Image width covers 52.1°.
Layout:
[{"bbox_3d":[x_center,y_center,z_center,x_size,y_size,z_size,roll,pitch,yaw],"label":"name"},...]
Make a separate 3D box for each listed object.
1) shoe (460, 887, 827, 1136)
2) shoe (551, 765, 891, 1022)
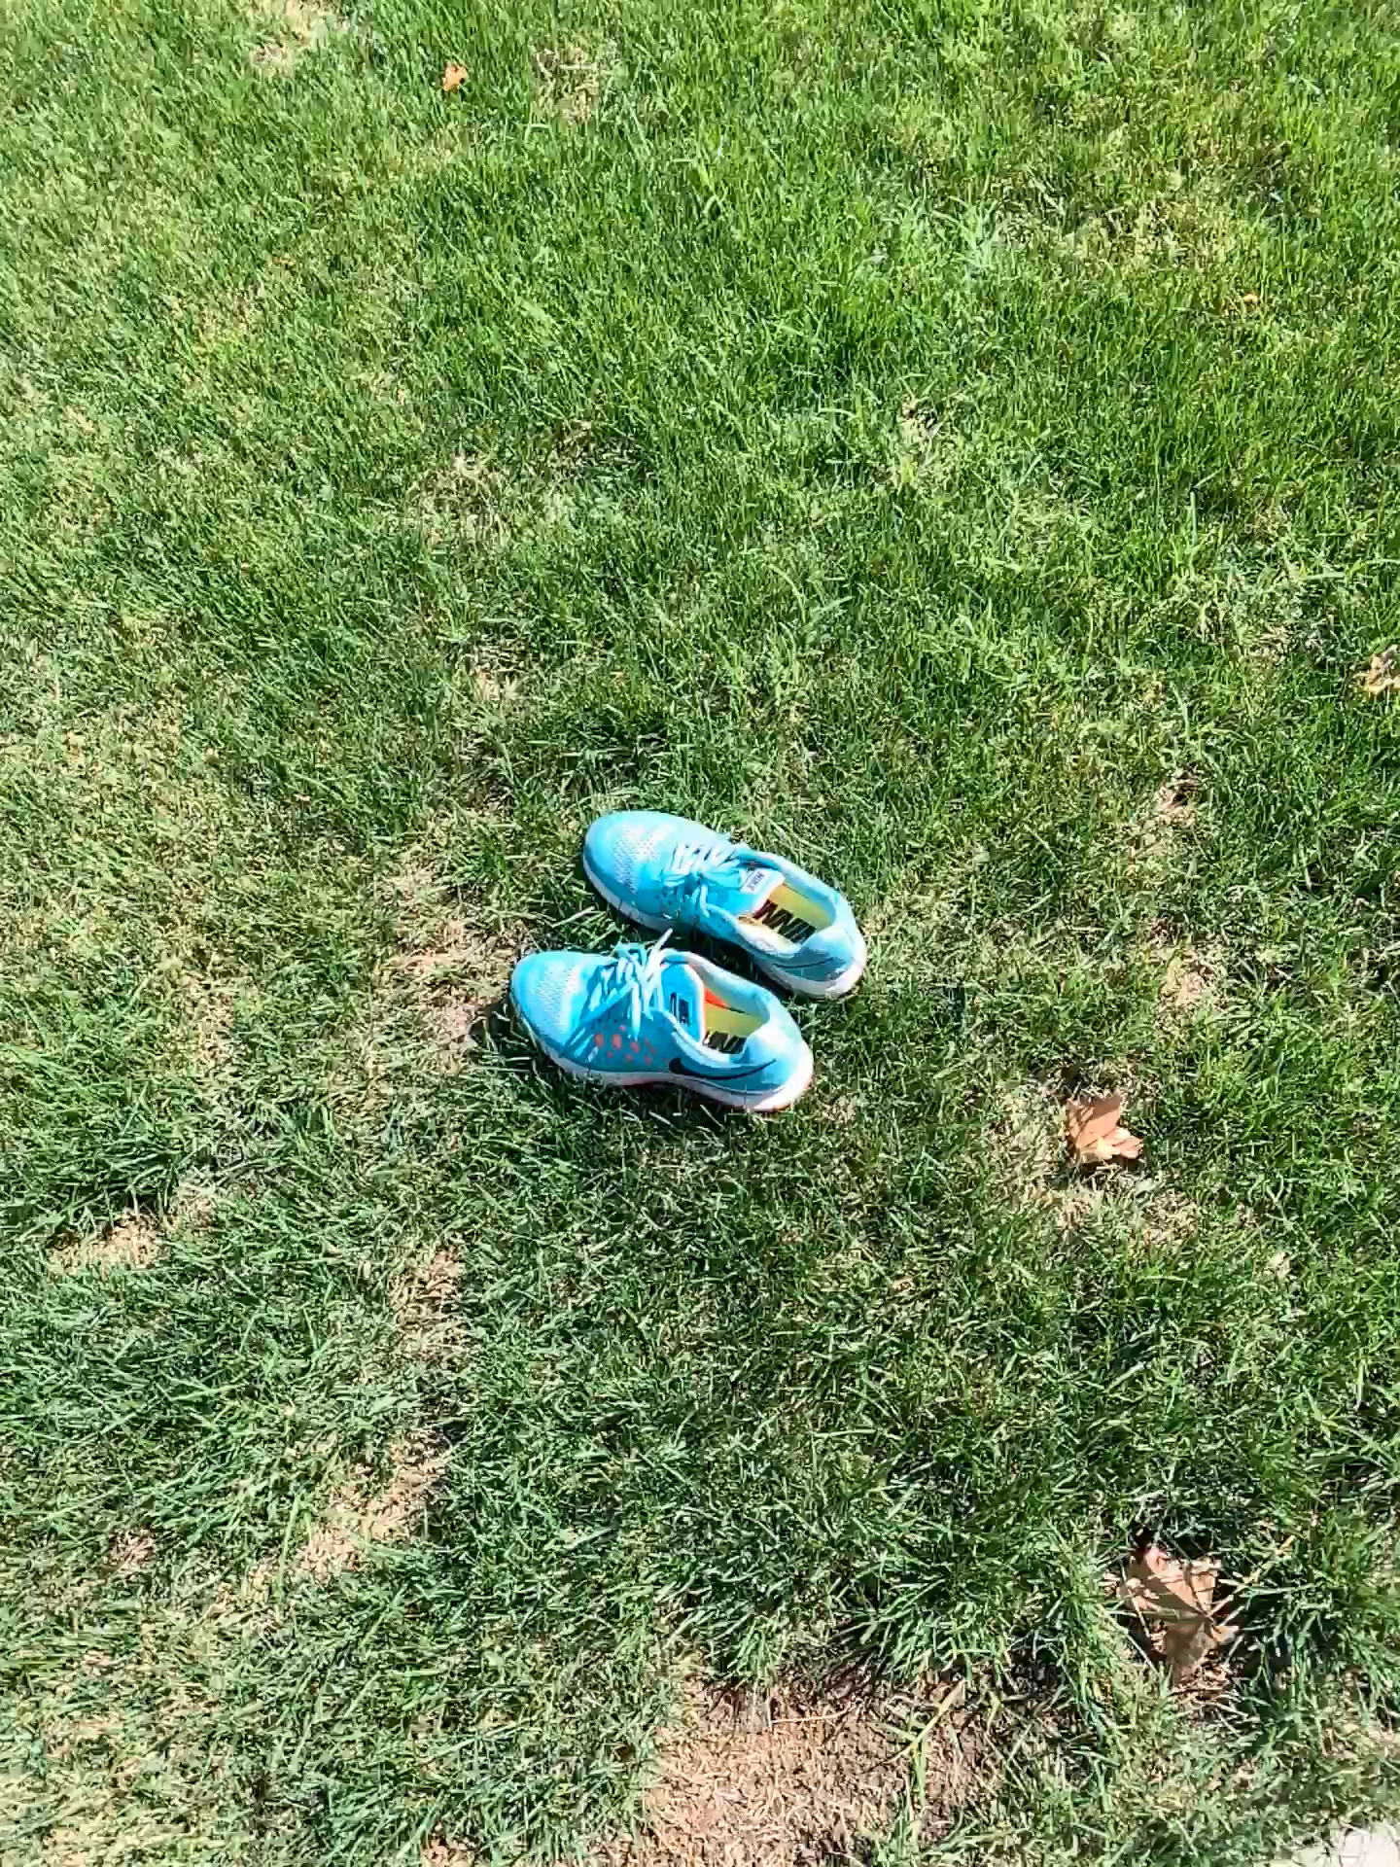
[{"bbox_3d":[-0.041,0.062,1.135,0.260,0.100,0.110,13,66,9],"label":"shoe"},{"bbox_3d":[0.017,-0.034,1.167,0.250,0.080,0.100,22,68,13],"label":"shoe"}]
